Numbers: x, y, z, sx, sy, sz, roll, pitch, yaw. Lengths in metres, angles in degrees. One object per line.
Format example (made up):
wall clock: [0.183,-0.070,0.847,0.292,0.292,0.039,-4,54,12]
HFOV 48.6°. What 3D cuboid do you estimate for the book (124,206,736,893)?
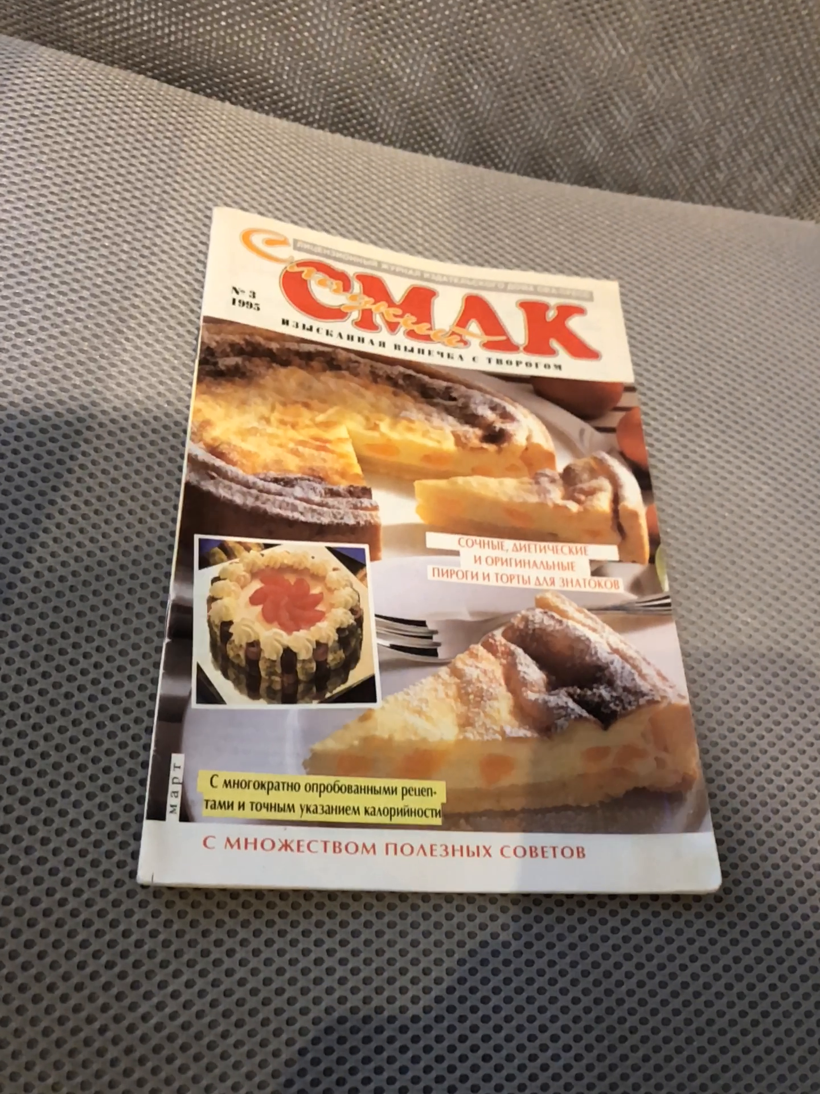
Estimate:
book: [0.010,-0.009,0.303,0.174,0.010,0.232,5,64,-13]
